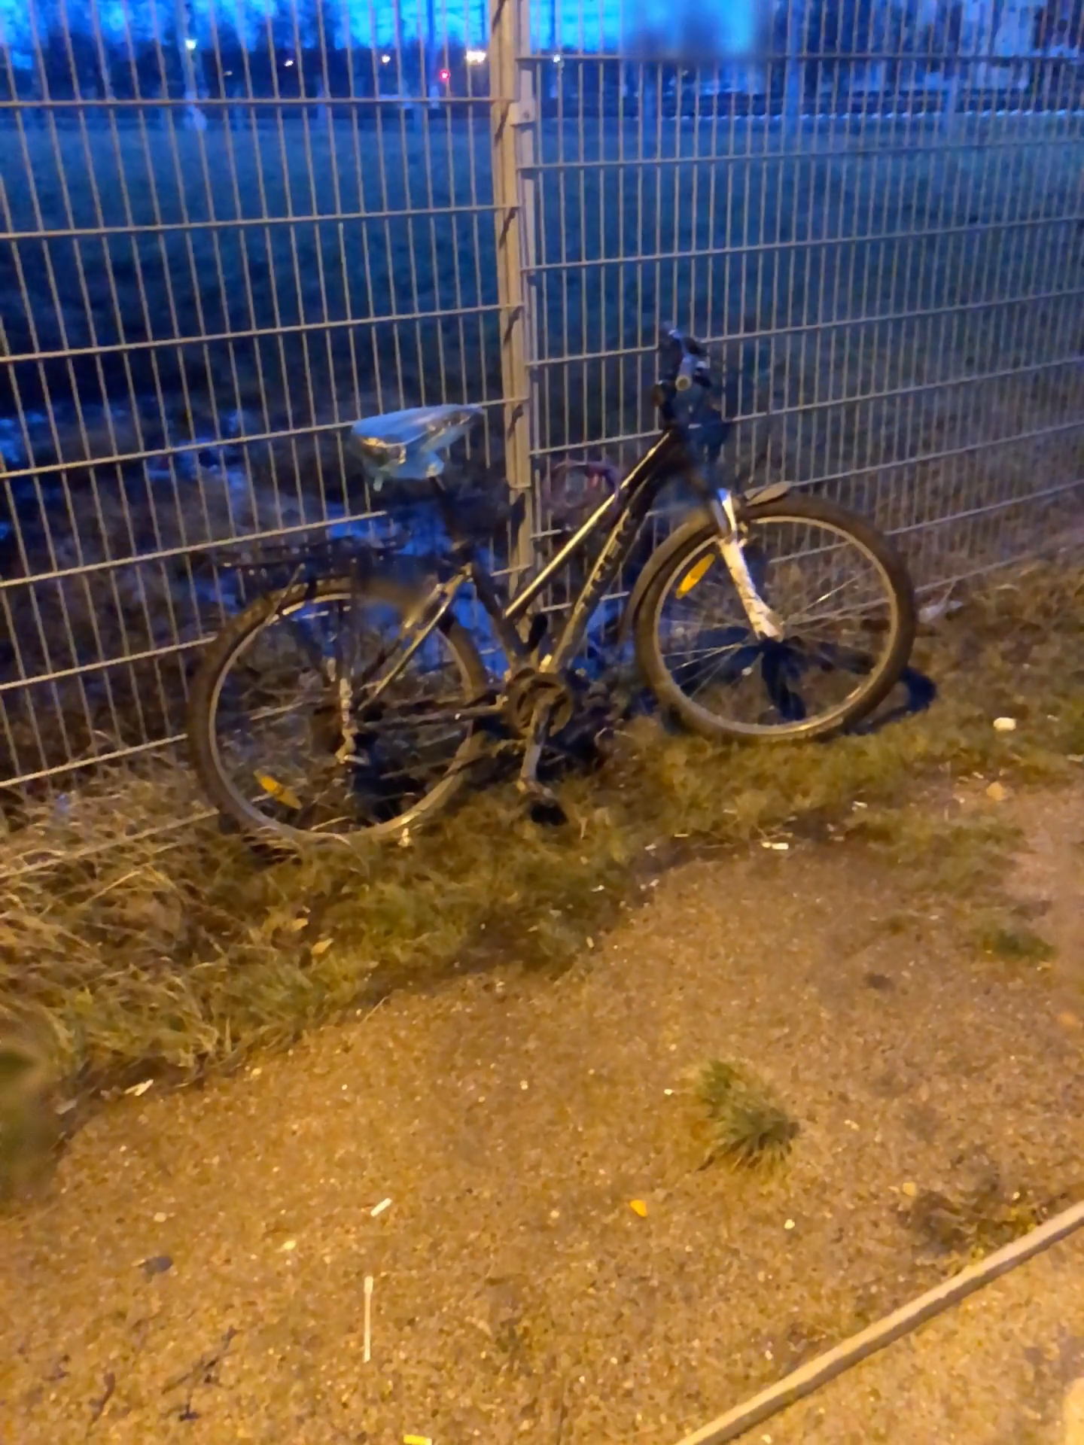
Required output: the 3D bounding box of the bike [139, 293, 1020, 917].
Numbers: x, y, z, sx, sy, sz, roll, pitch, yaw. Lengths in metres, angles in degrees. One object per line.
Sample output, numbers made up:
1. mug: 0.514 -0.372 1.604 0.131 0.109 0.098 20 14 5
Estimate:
1. bike: 0.049 -0.299 2.520 1.584 0.947 0.573 -10 28 -12
